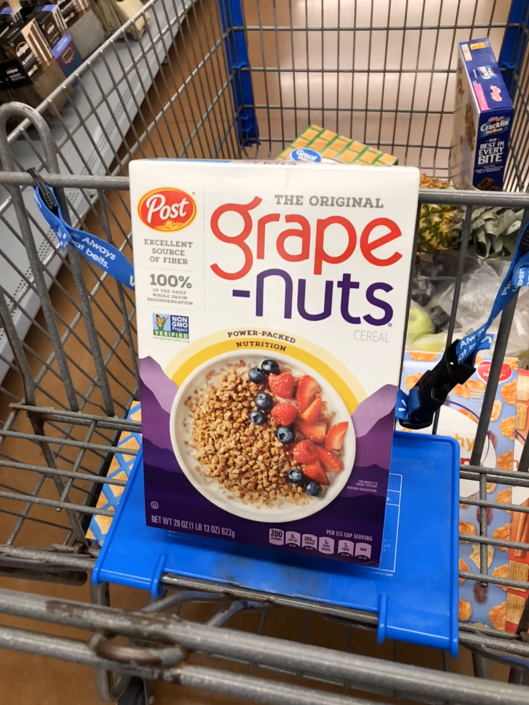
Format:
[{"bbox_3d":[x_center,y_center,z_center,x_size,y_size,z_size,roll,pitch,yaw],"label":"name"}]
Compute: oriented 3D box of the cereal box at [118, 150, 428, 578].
[{"bbox_3d":[0.001,0.007,0.371,0.170,0.250,0.050,6,18,13],"label":"cereal box"}]
